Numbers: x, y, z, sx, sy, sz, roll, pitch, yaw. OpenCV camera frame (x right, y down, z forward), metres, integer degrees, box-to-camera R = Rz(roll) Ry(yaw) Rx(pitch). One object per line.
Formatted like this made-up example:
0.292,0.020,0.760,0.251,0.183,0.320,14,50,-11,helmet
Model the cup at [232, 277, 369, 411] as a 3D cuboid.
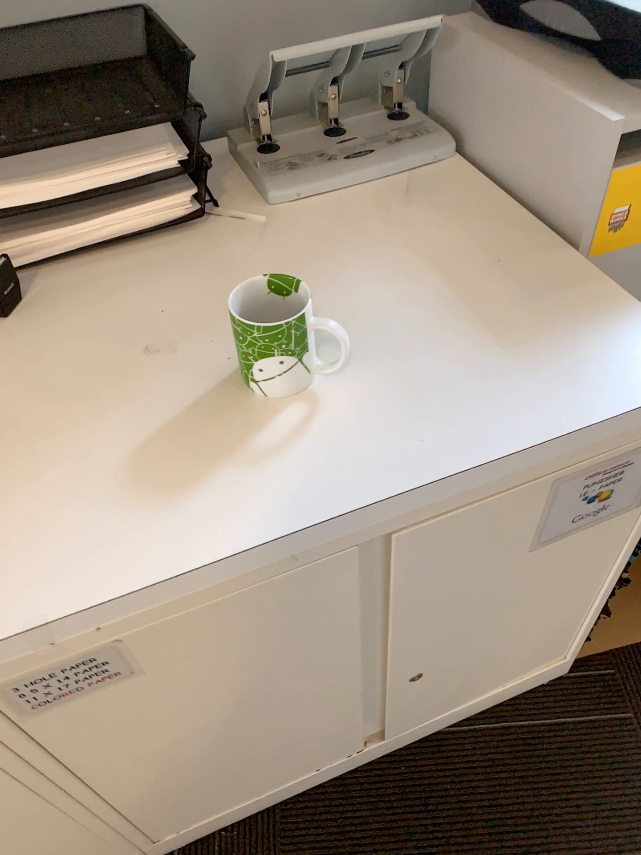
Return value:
-0.013,-0.076,0.602,0.110,0.090,0.080,2,48,6,cup
